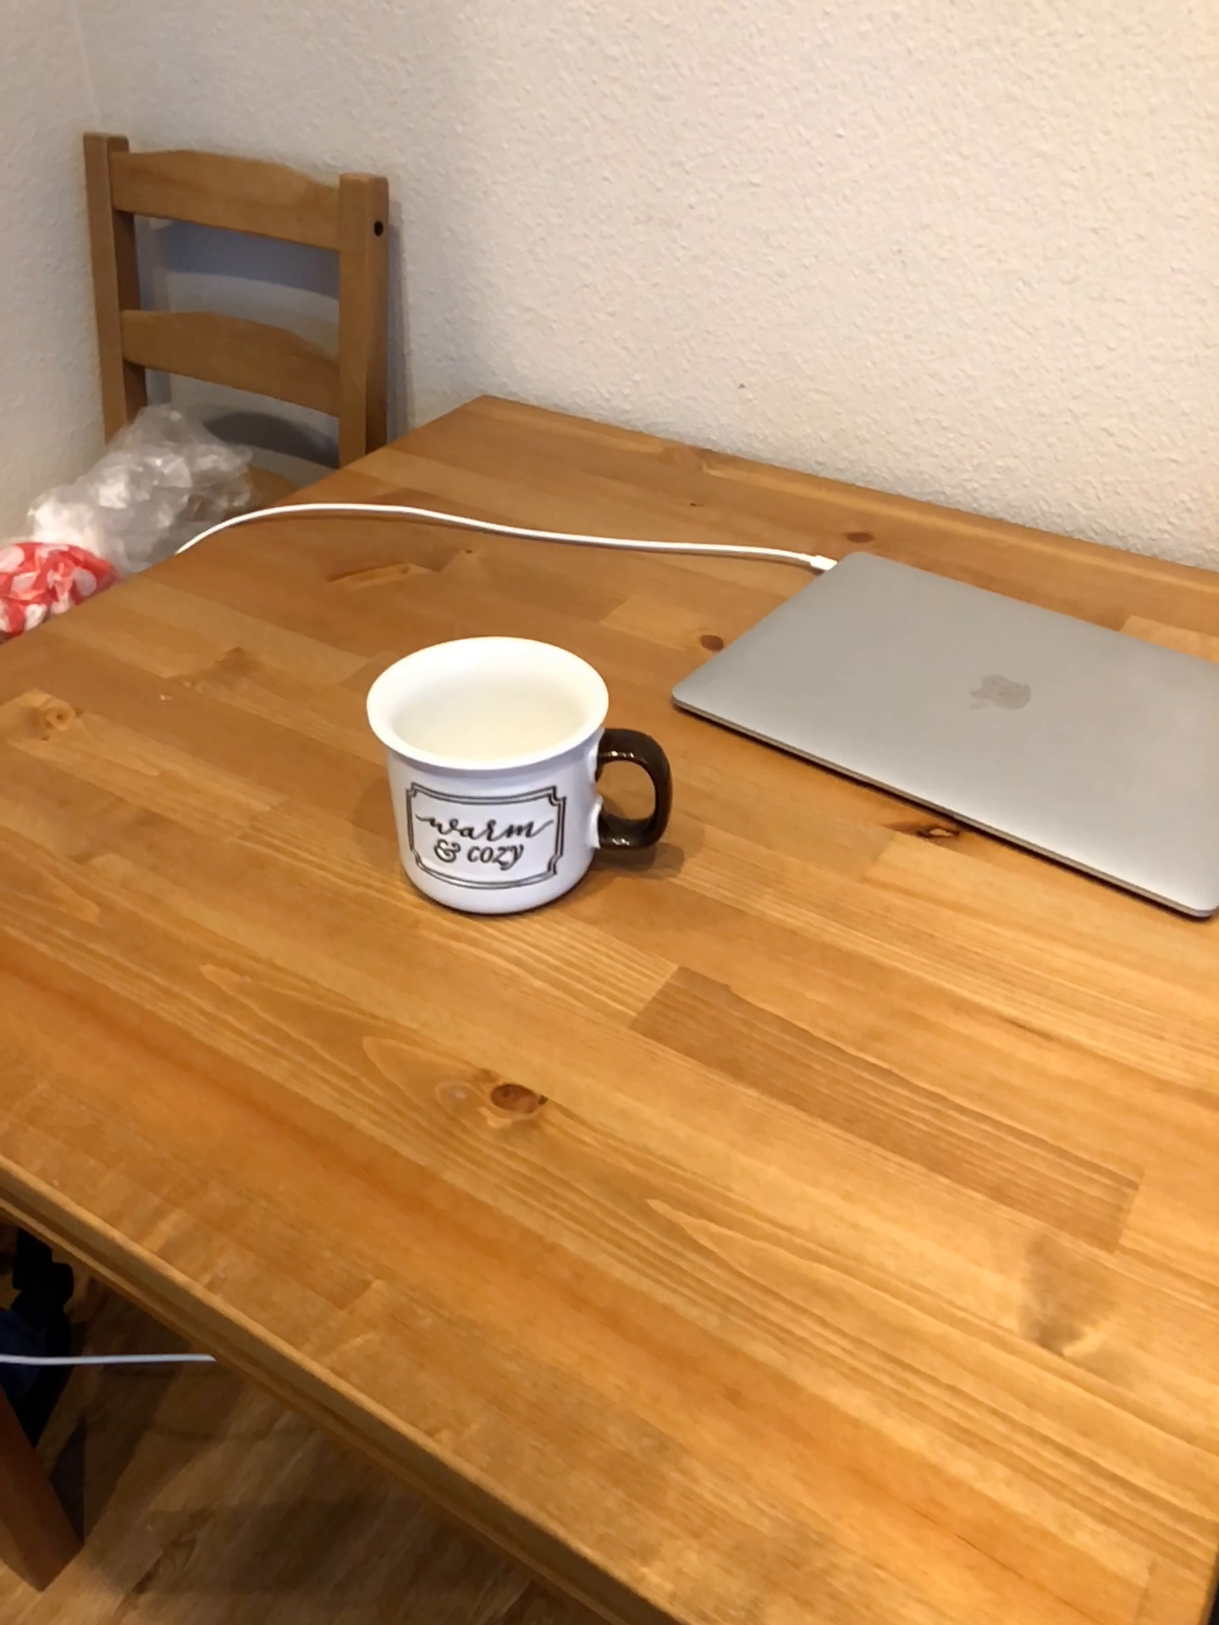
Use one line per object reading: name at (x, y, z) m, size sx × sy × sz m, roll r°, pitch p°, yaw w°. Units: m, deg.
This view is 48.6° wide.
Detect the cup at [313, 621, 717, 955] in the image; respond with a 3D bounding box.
cup at (-0.036, -0.016, 0.616) m, size 0.150 × 0.080 × 0.120 m, roll 7°, pitch 38°, yaw 10°
